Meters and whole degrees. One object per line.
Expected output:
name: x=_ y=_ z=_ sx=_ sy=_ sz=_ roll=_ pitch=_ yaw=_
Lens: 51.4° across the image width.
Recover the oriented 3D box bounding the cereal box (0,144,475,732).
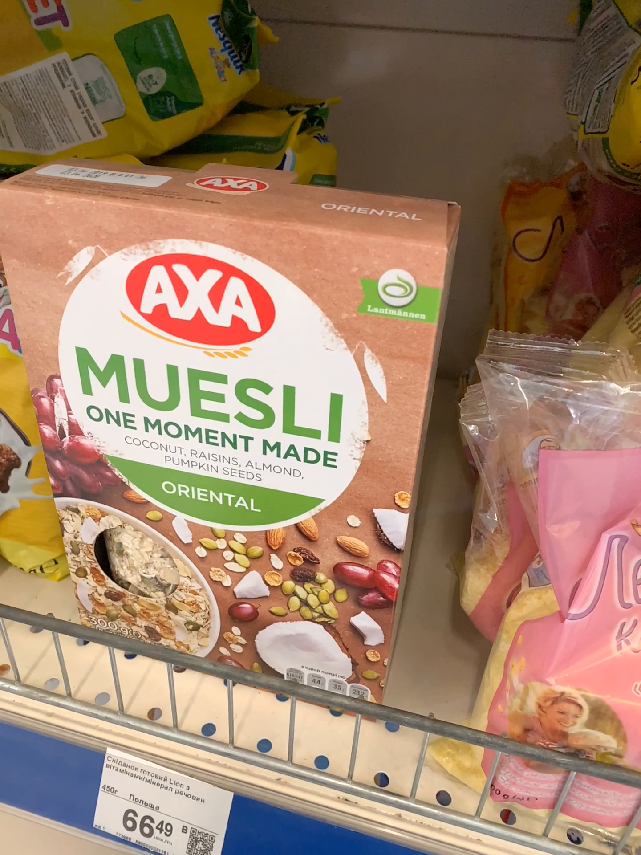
cereal box: x=-0.034 y=0.015 z=0.268 sx=0.150 sy=0.218 sz=0.050 roll=11 pitch=34 yaw=13
